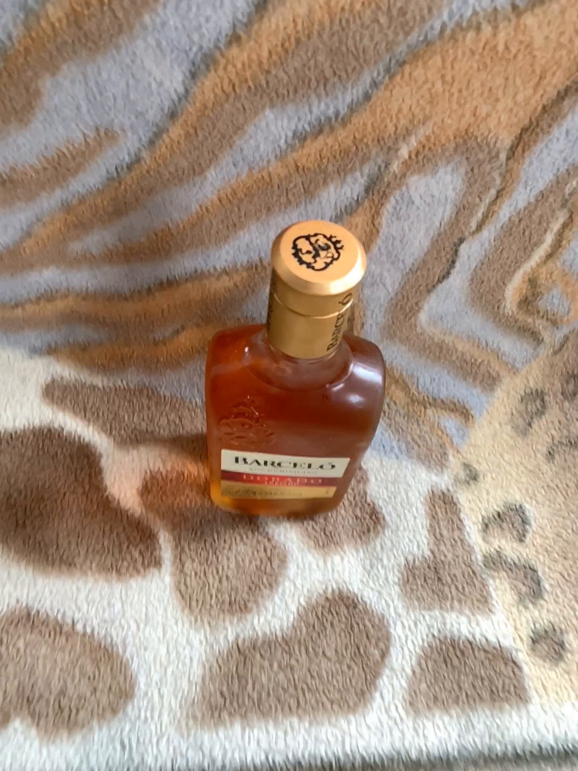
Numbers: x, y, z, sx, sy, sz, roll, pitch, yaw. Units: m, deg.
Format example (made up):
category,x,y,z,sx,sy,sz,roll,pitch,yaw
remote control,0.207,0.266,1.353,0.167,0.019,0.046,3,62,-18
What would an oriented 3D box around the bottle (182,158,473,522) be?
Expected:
category,x,y,z,sx,sy,sz,roll,pitch,yaw
bottle,0.002,0.003,0.294,0.090,0.218,0.070,1,61,-5
